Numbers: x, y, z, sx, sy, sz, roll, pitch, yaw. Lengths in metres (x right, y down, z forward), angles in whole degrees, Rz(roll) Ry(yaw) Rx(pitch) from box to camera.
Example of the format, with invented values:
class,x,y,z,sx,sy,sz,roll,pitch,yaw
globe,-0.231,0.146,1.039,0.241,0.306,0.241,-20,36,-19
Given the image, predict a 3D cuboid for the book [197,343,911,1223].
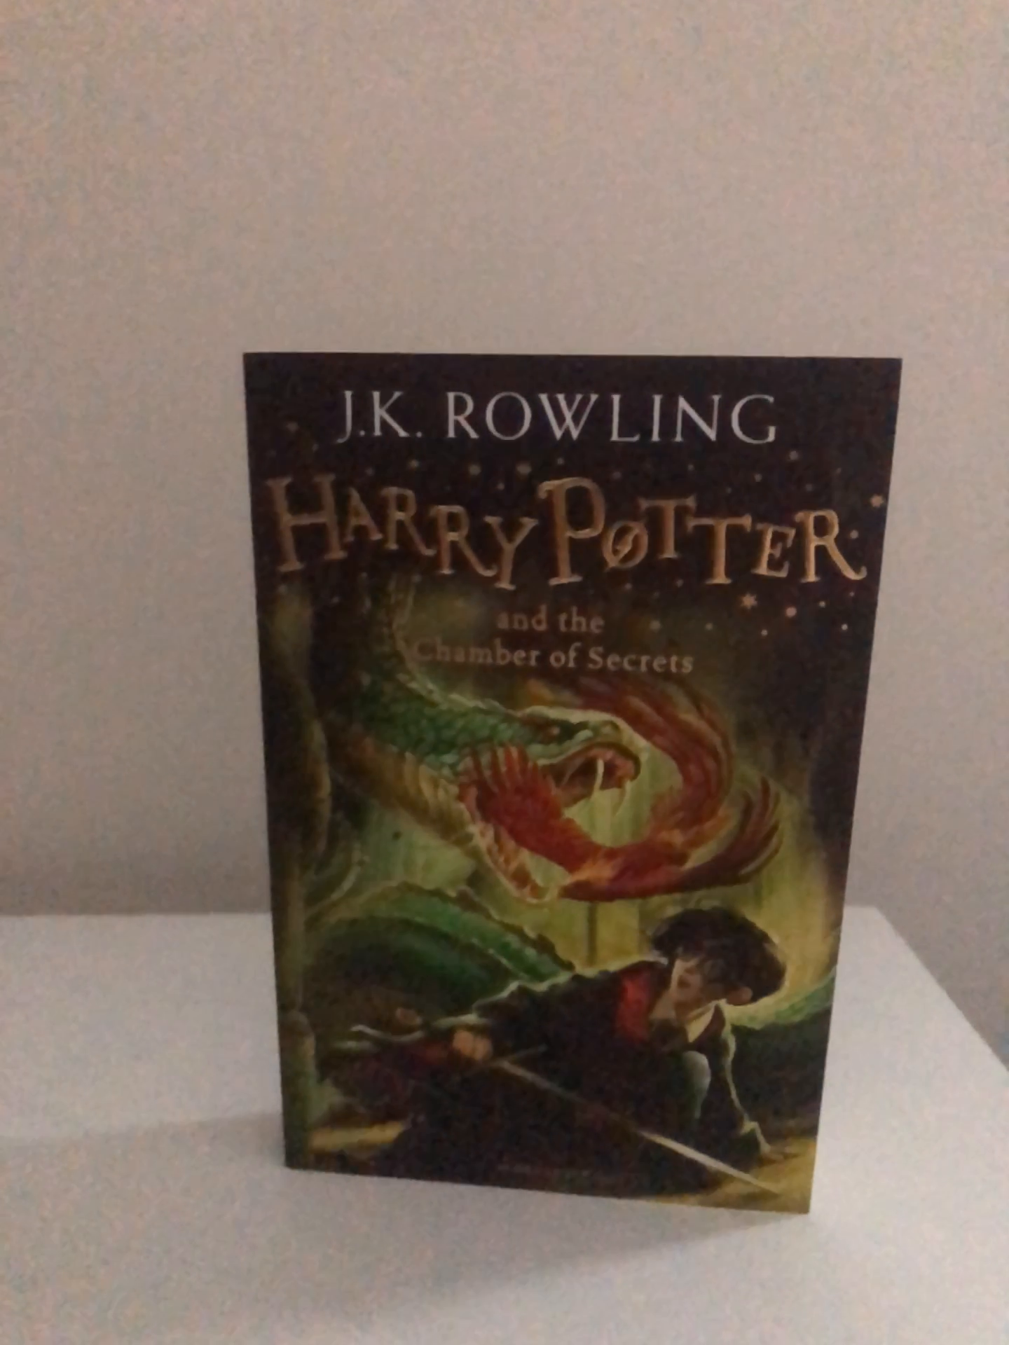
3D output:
class,x,y,z,sx,sy,sz,roll,pitch,yaw
book,0.009,0.026,0.253,0.130,0.190,0.039,2,18,6
